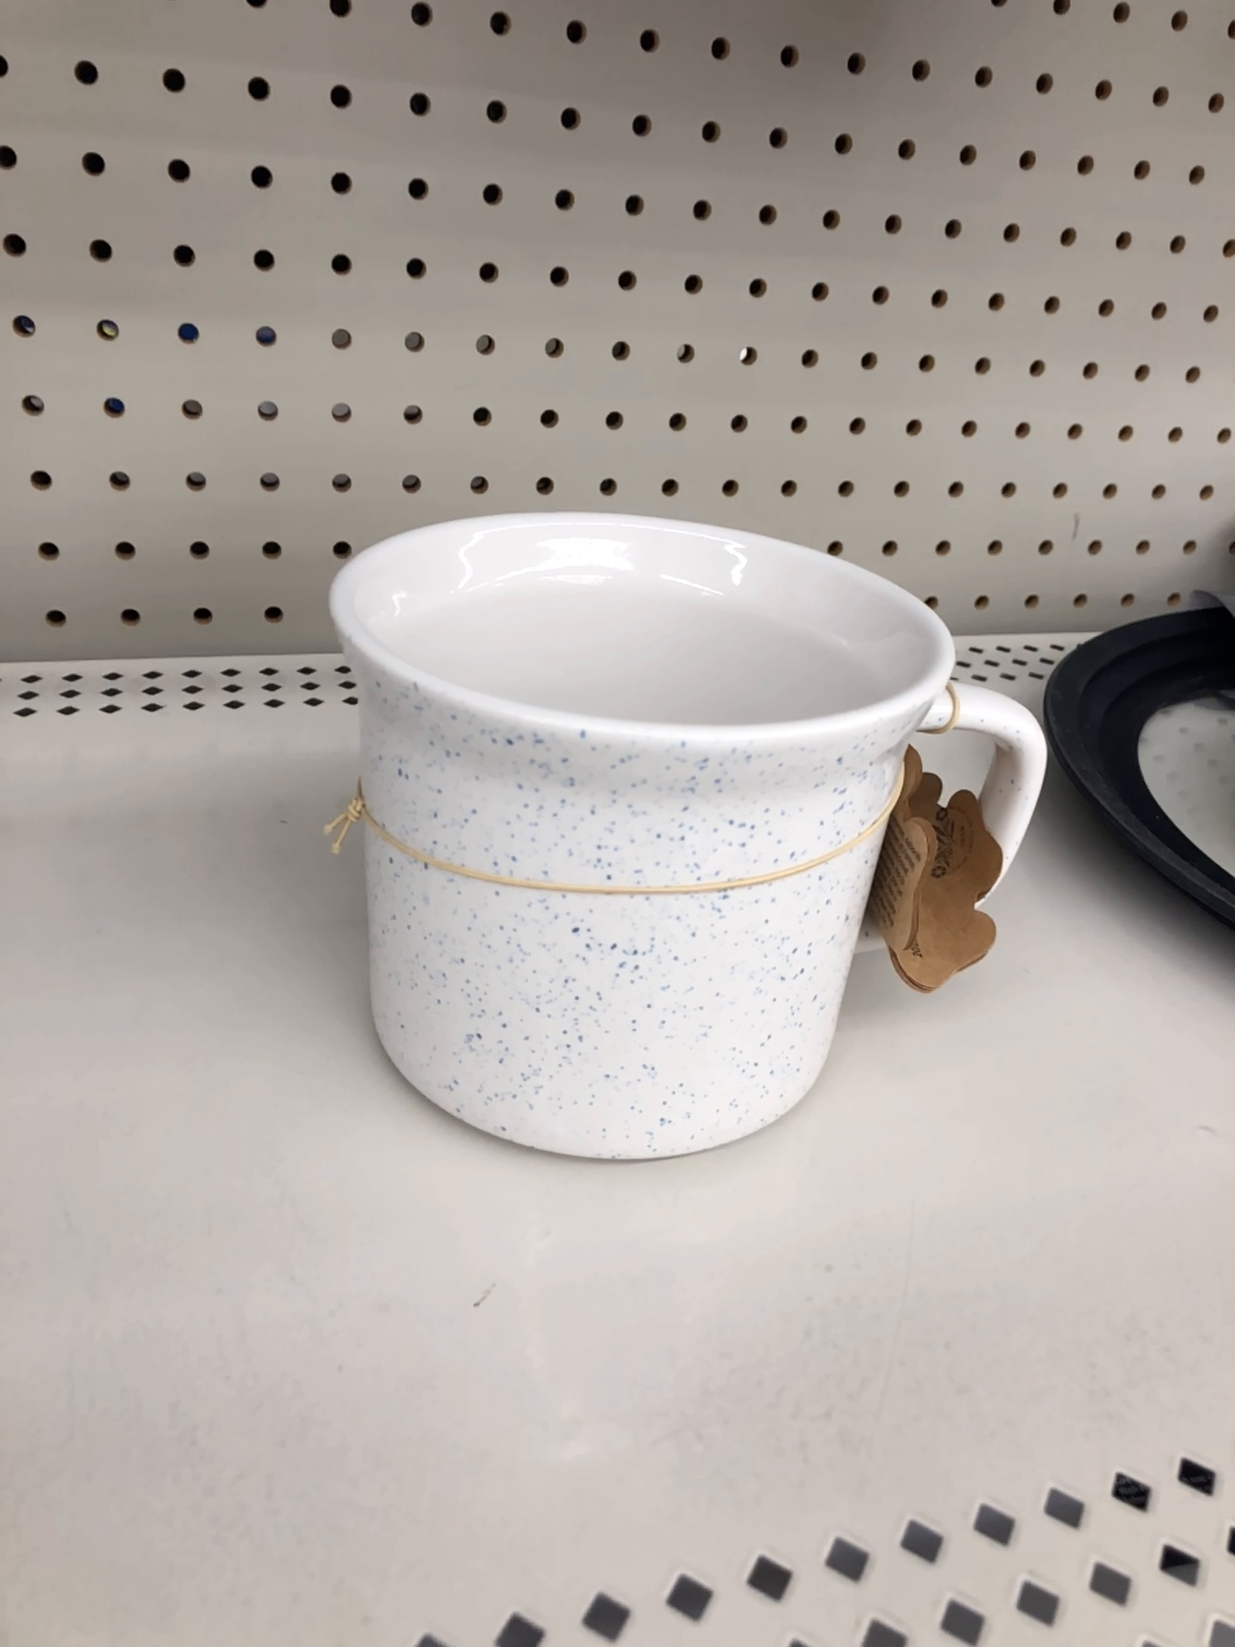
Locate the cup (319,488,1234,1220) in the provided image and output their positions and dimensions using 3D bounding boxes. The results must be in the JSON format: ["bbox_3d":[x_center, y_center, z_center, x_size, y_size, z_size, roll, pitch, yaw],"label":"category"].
[{"bbox_3d":[0.030,-0.007,0.272,0.159,0.090,0.102,-6,31,-20],"label":"cup"}]
